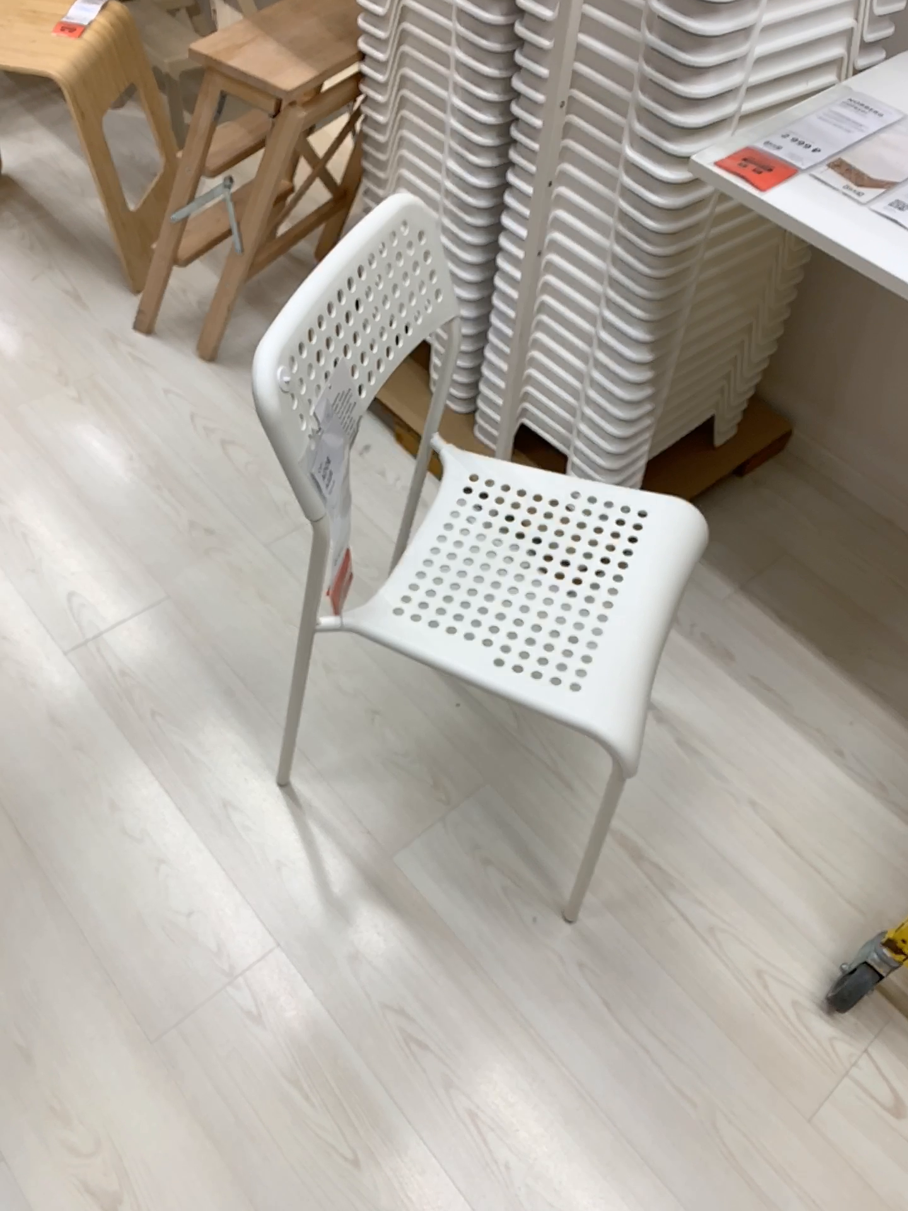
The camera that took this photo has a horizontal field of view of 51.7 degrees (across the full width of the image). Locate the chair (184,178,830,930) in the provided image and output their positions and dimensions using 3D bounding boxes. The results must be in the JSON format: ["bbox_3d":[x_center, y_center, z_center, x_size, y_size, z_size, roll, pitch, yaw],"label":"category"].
[{"bbox_3d":[0.050,-0.016,1.180,0.500,0.746,0.425,20,53,10],"label":"chair"}]
